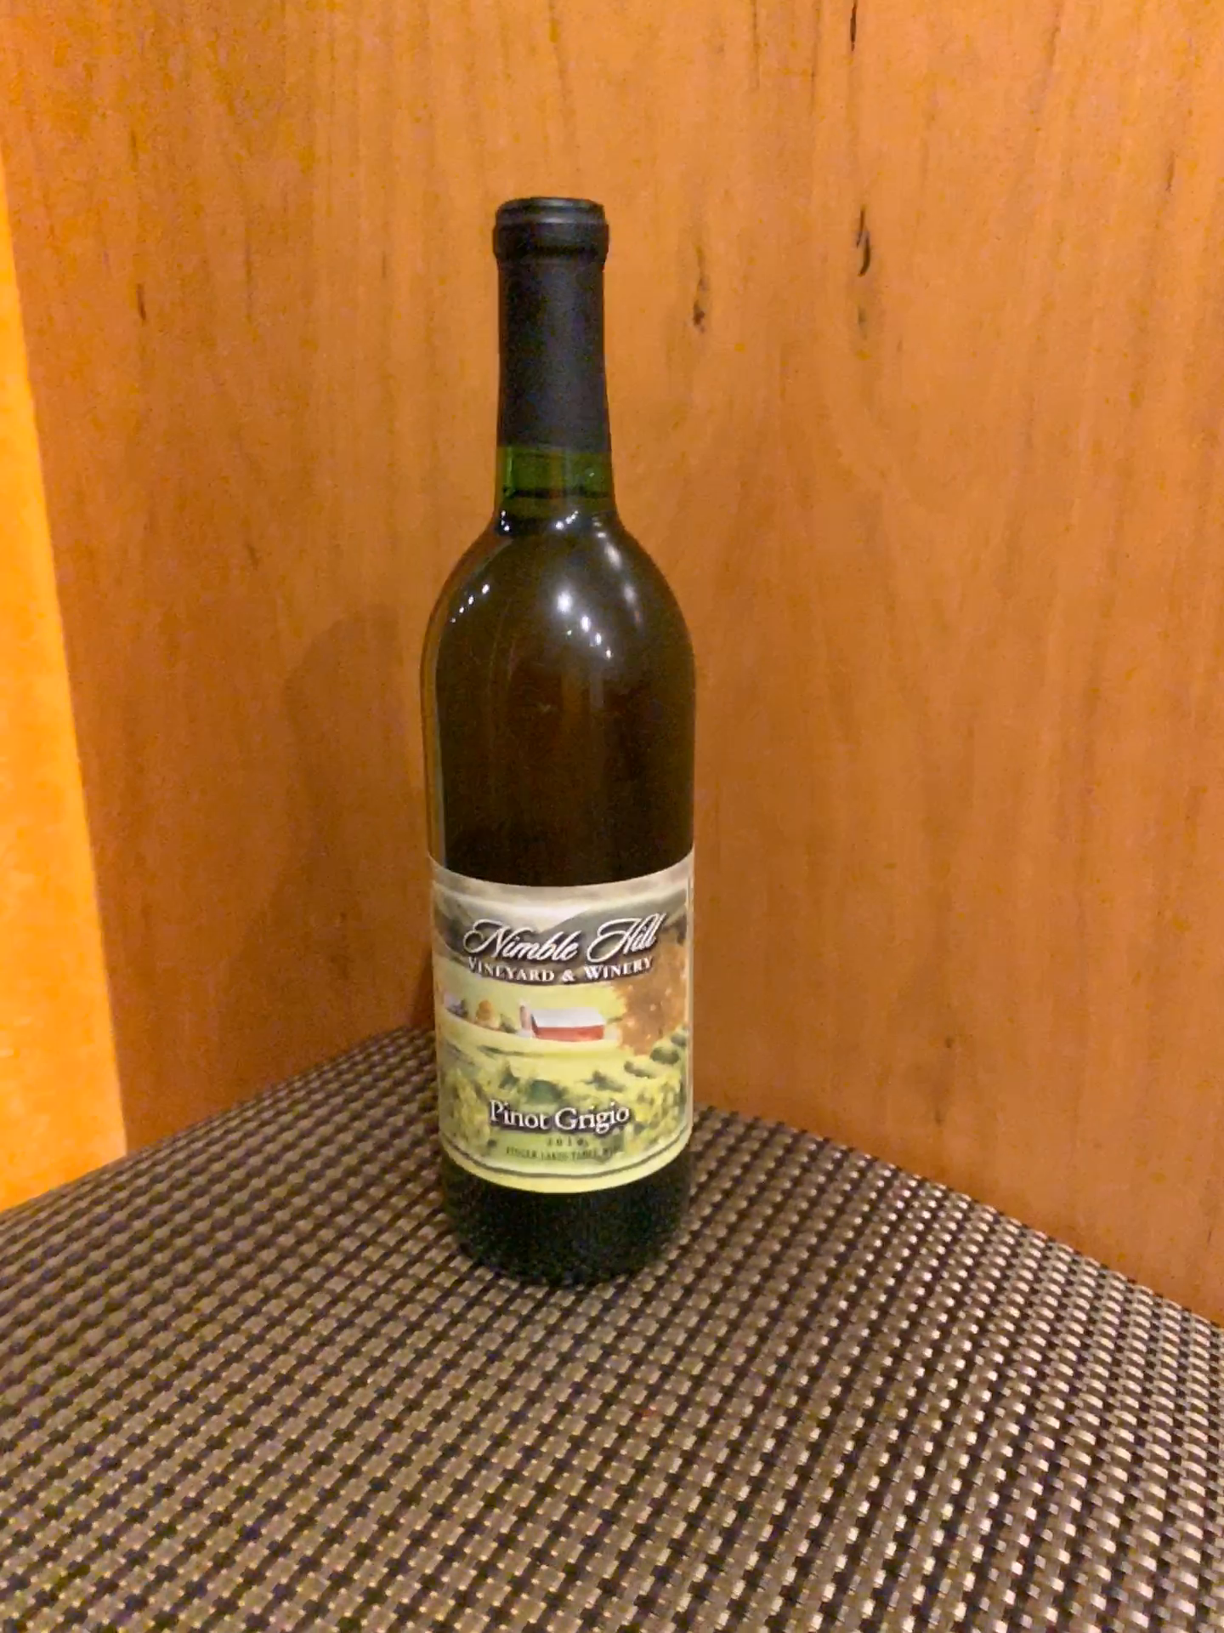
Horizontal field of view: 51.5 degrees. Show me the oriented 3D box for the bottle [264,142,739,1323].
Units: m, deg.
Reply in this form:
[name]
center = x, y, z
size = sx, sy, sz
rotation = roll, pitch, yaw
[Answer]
[bottle]
center = -0.020, -0.015, 0.329
size = 0.090, 0.269, 0.080
rotation = 3, 17, 11
